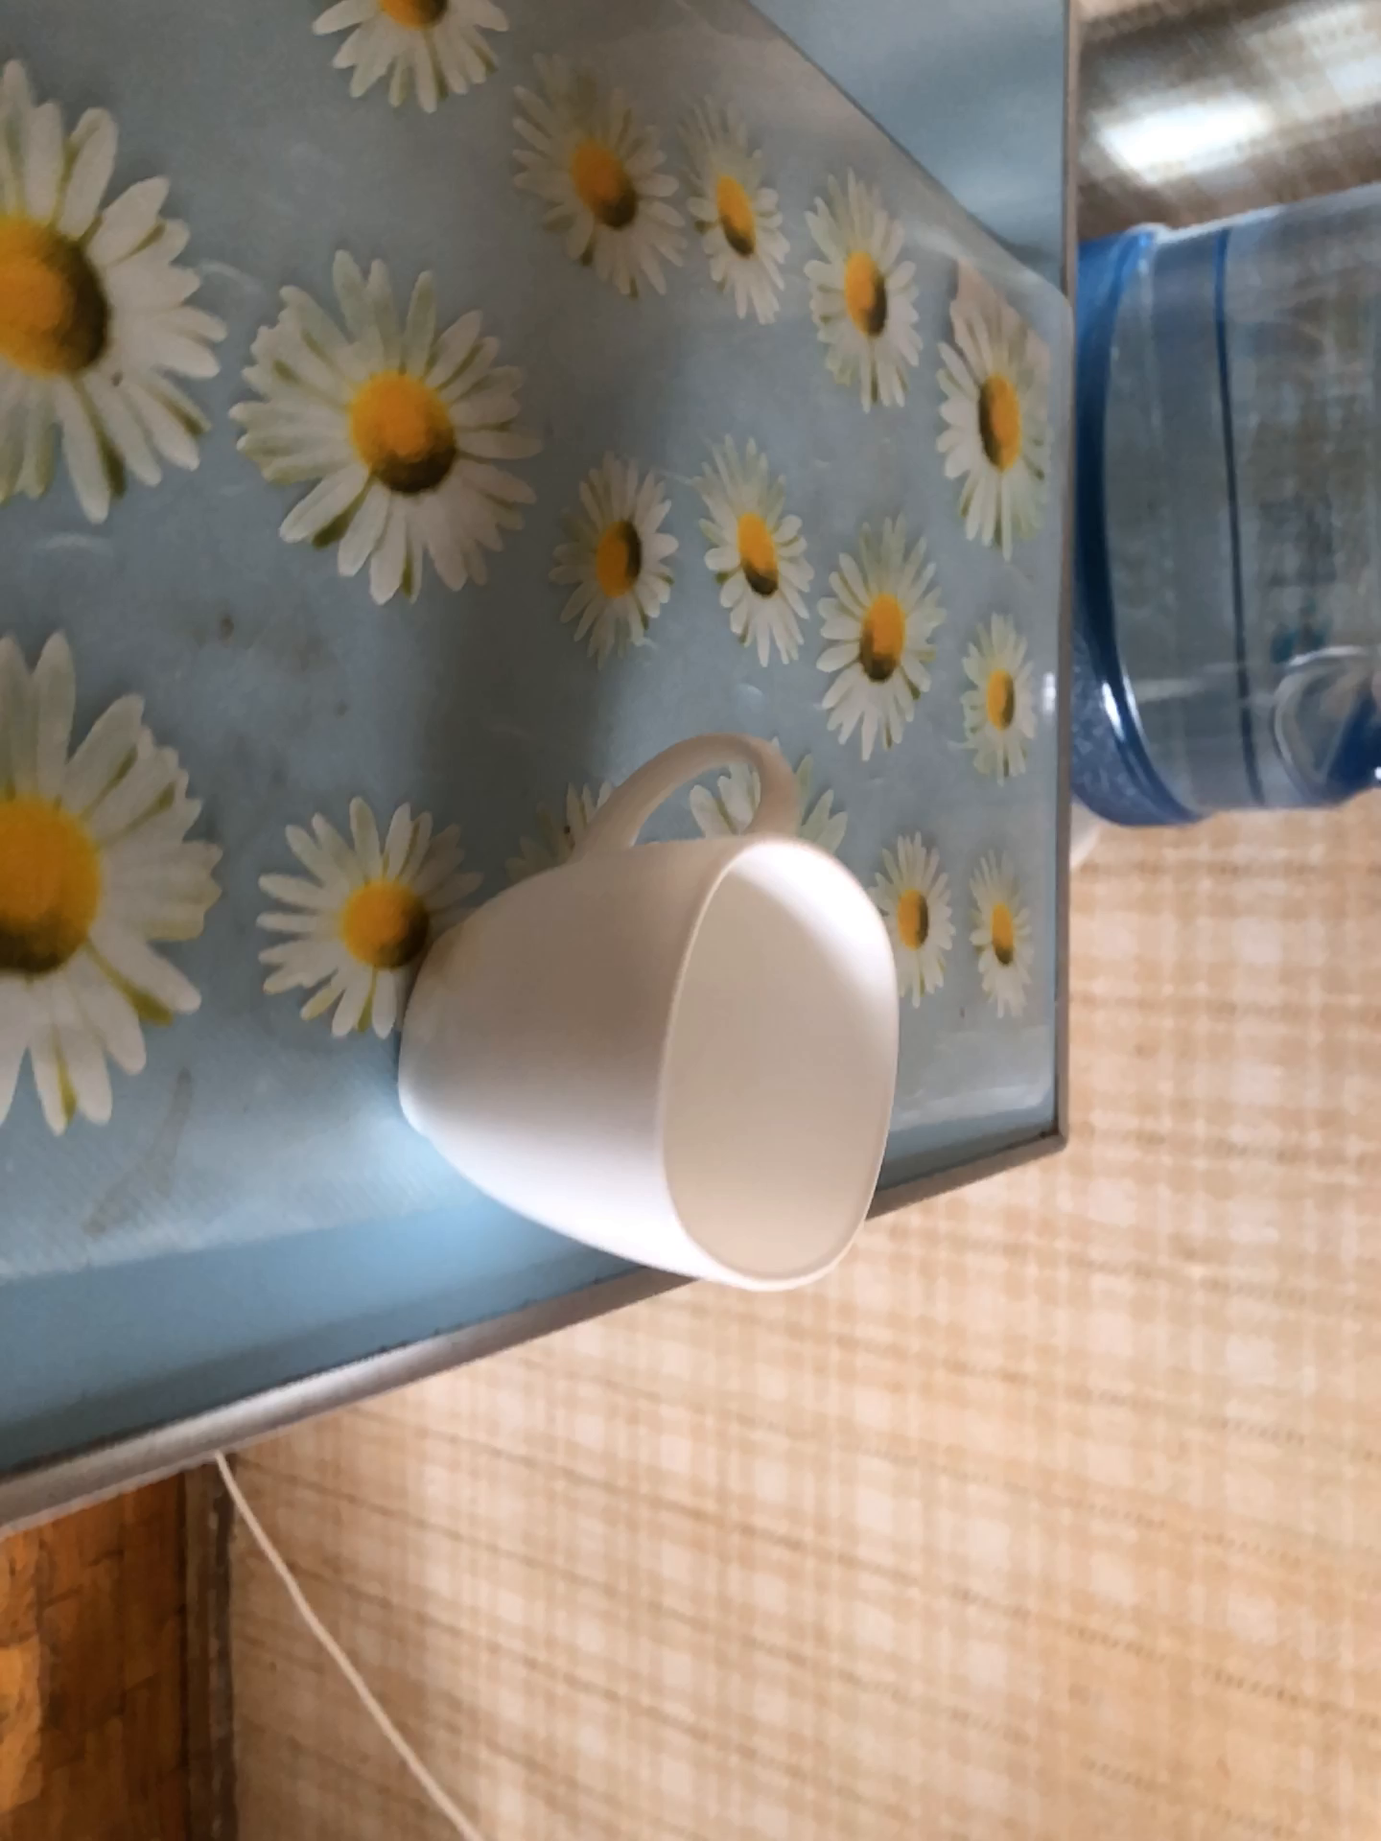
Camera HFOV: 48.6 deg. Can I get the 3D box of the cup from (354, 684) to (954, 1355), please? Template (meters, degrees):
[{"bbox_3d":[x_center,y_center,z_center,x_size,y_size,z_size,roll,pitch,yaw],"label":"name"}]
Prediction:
[{"bbox_3d":[-0.003,0.011,0.285,0.085,0.070,0.102,-9,99,-54],"label":"cup"}]
